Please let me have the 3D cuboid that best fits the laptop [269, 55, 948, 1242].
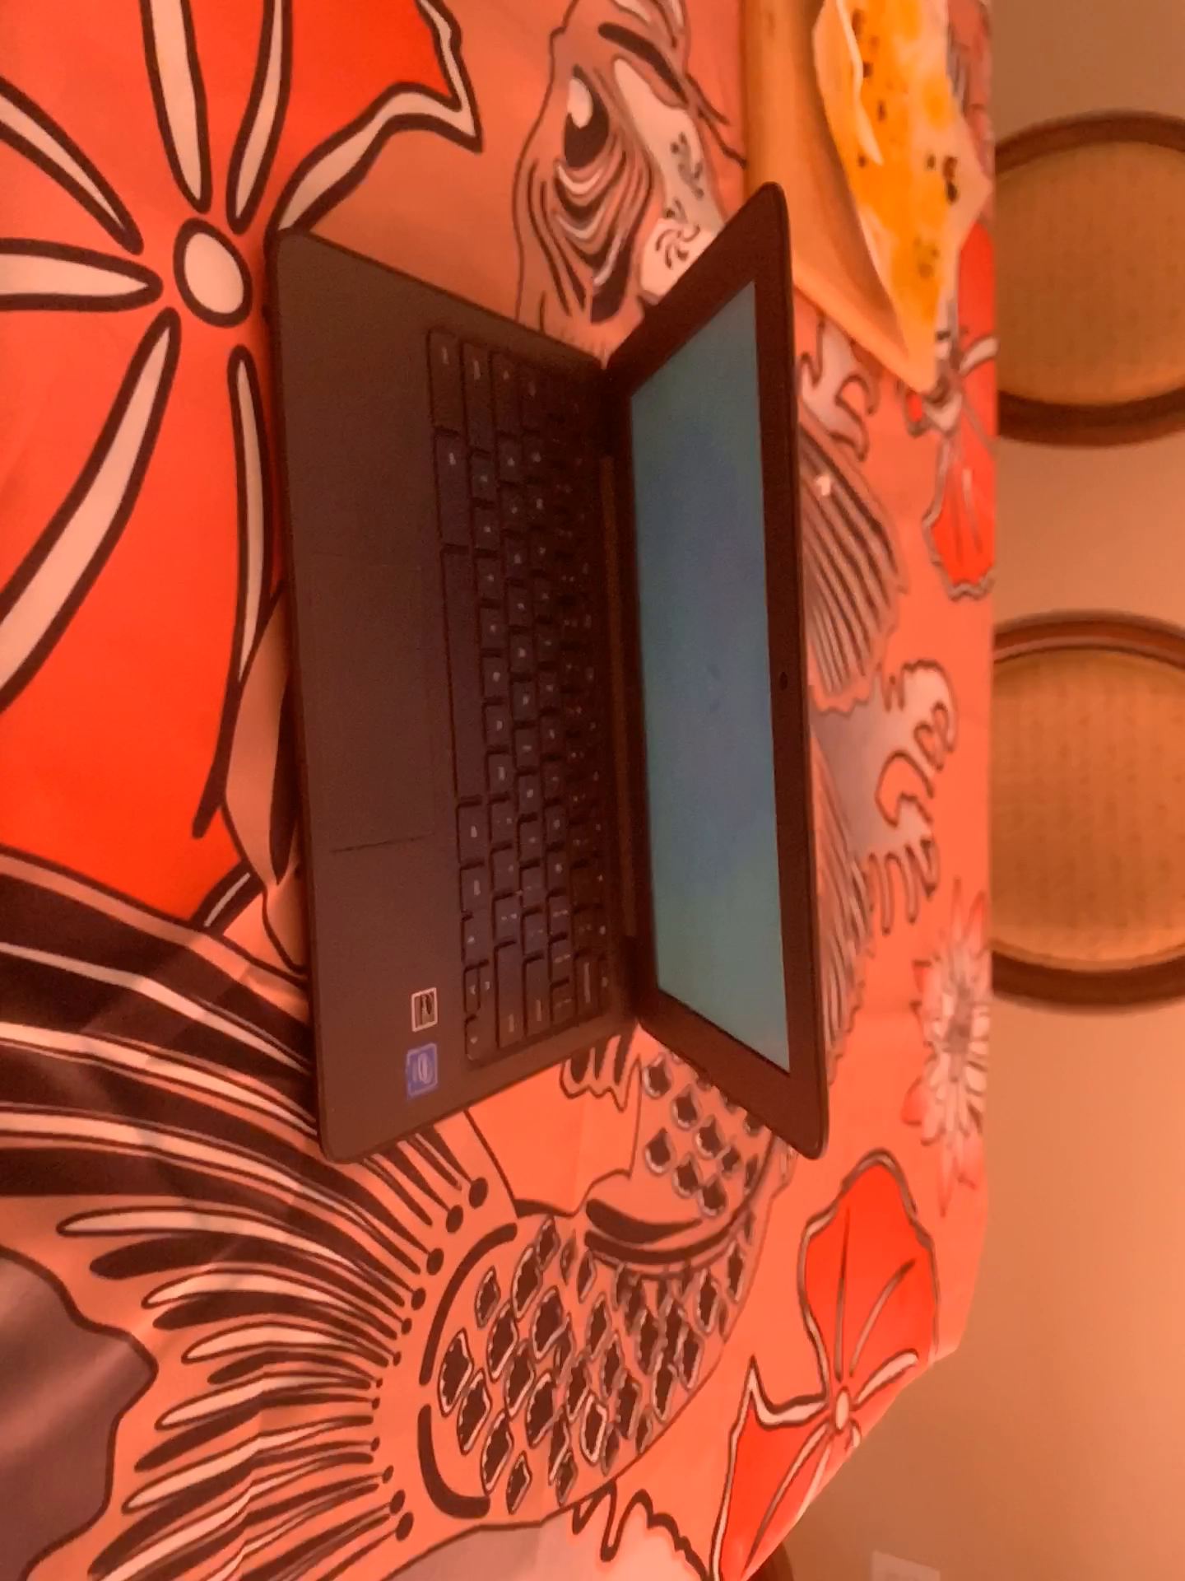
[{"bbox_3d":[0.023,-0.036,0.441,0.212,0.144,0.299,-8,96,-60],"label":"laptop"}]
